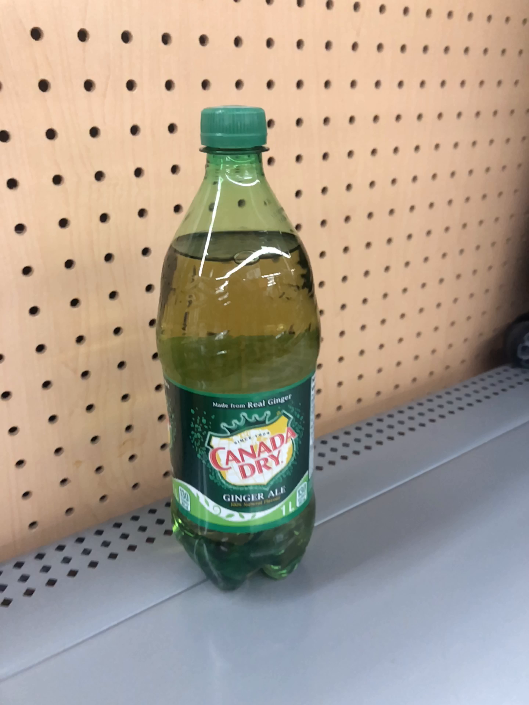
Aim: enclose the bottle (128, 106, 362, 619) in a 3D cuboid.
[{"bbox_3d":[-0.013,0.005,0.312,0.090,0.249,0.091,-1,23,0],"label":"bottle"}]
